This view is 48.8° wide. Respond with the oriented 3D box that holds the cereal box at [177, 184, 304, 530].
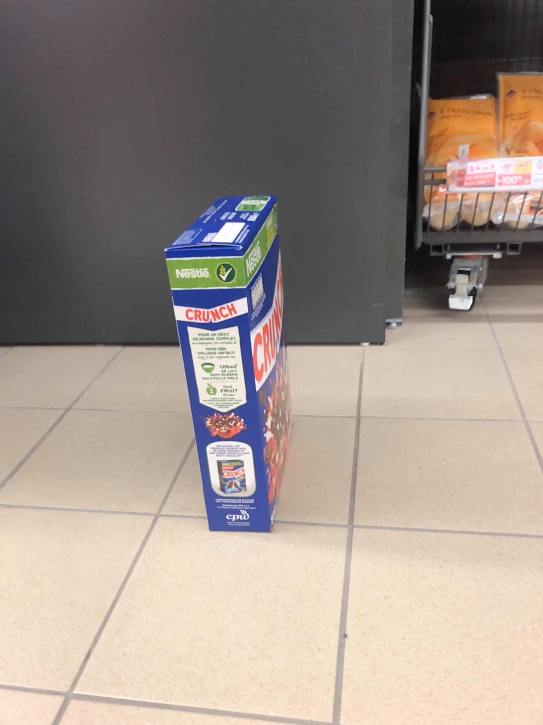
[{"bbox_3d":[-0.016,-0.011,0.602,0.070,0.288,0.191,1,27,9],"label":"cereal box"}]
